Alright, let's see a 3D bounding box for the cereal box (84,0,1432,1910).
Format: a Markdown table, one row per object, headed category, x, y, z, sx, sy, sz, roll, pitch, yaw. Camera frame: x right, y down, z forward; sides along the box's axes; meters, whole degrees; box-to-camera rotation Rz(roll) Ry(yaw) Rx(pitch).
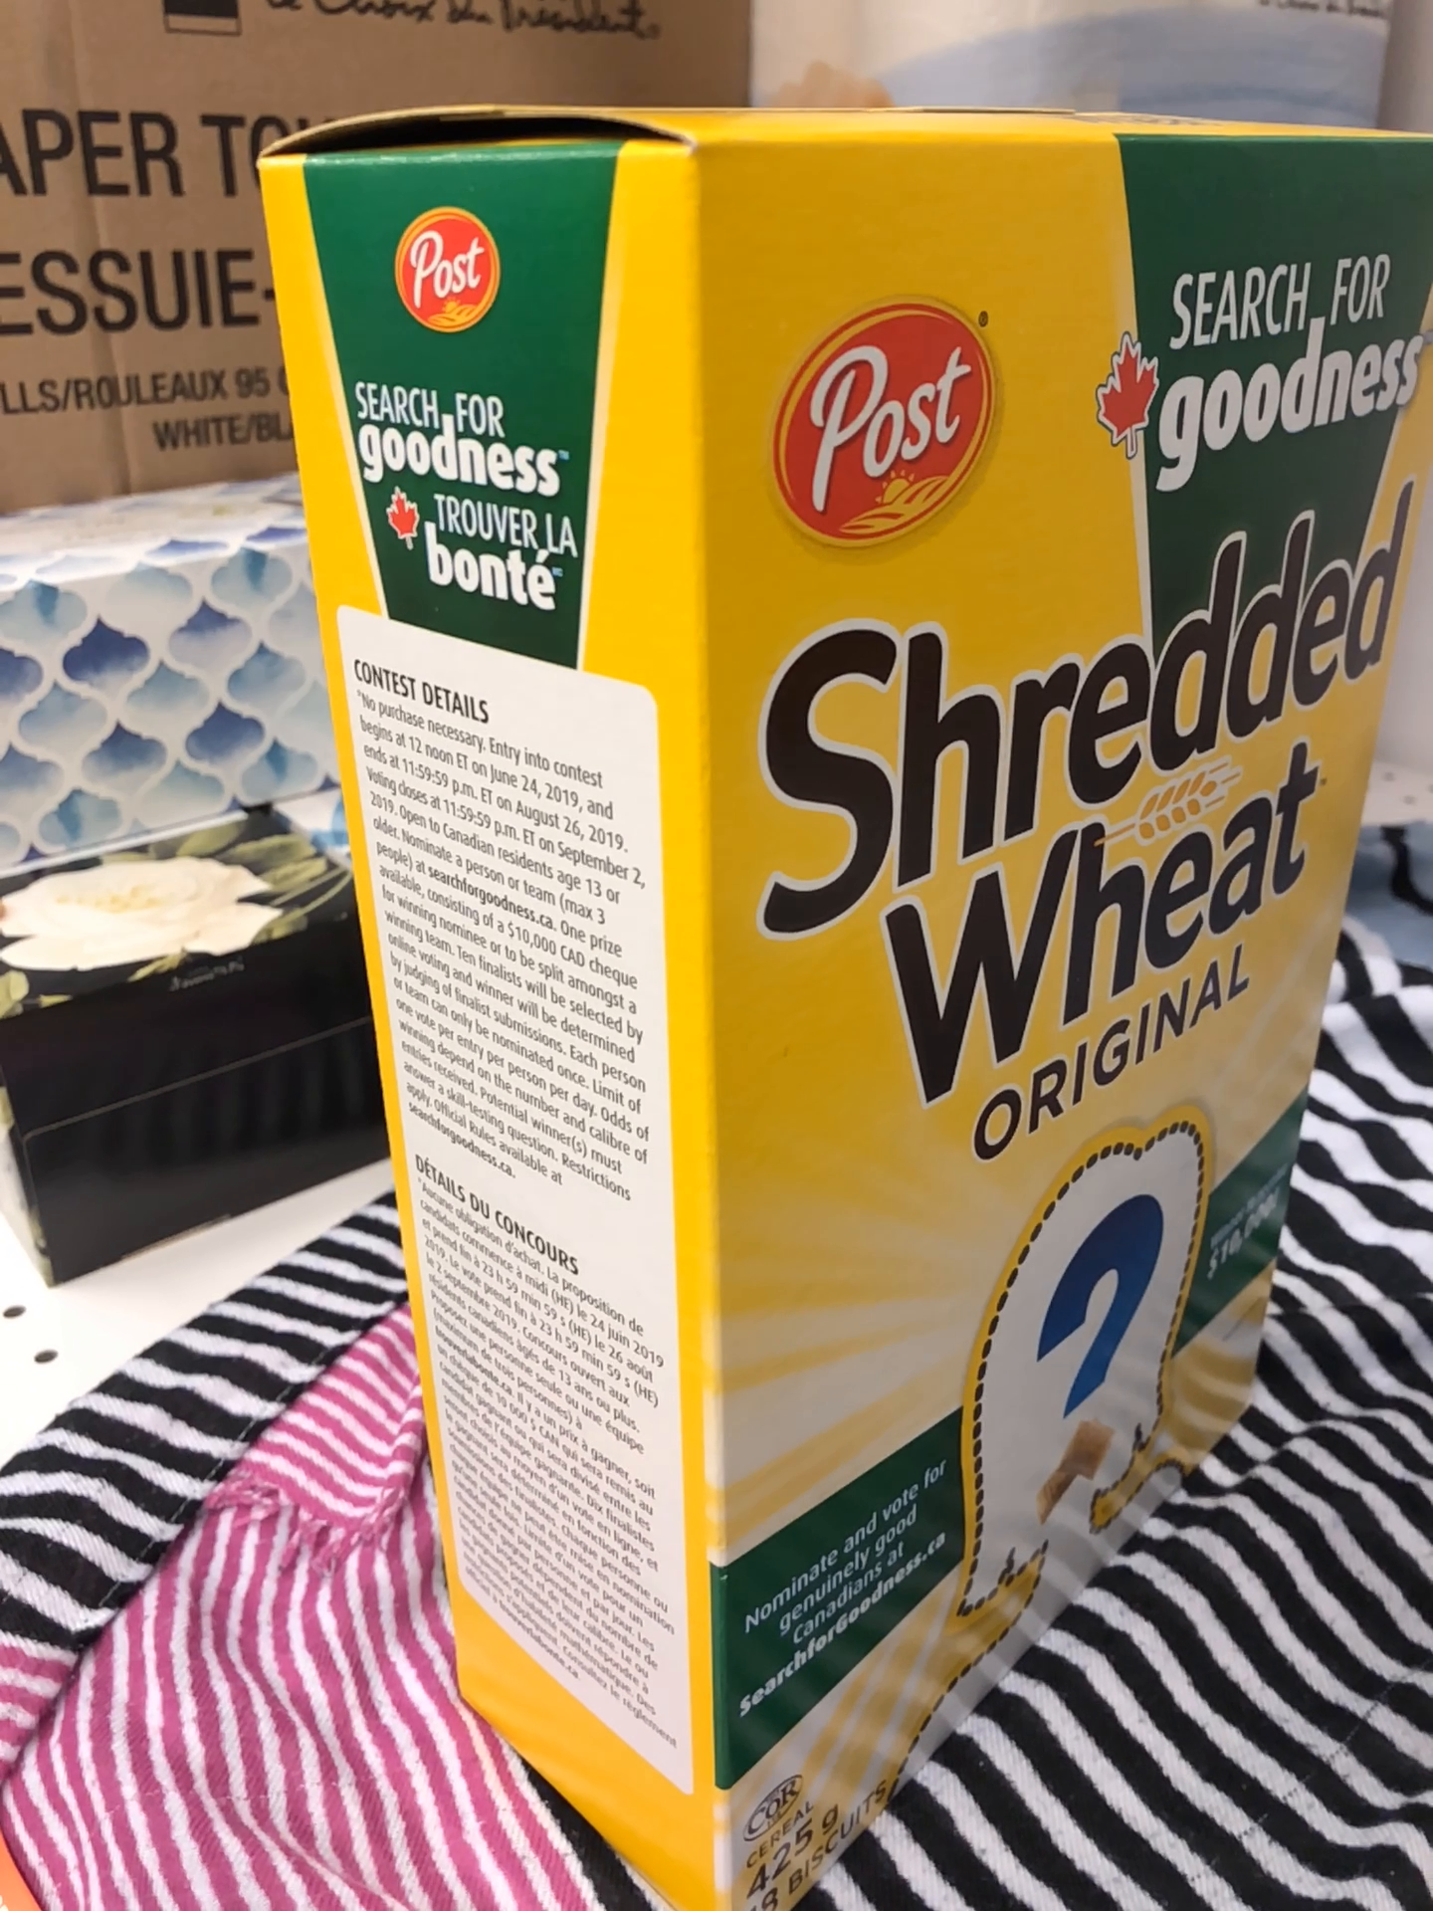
| category | x | y | z | sx | sy | sz | roll | pitch | yaw |
| --- | --- | --- | --- | --- | --- | --- | --- | --- | --- |
| cereal box | 0.032 | -0.005 | 0.280 | 0.080 | 0.269 | 0.210 | 21 | 33 | 38 |
